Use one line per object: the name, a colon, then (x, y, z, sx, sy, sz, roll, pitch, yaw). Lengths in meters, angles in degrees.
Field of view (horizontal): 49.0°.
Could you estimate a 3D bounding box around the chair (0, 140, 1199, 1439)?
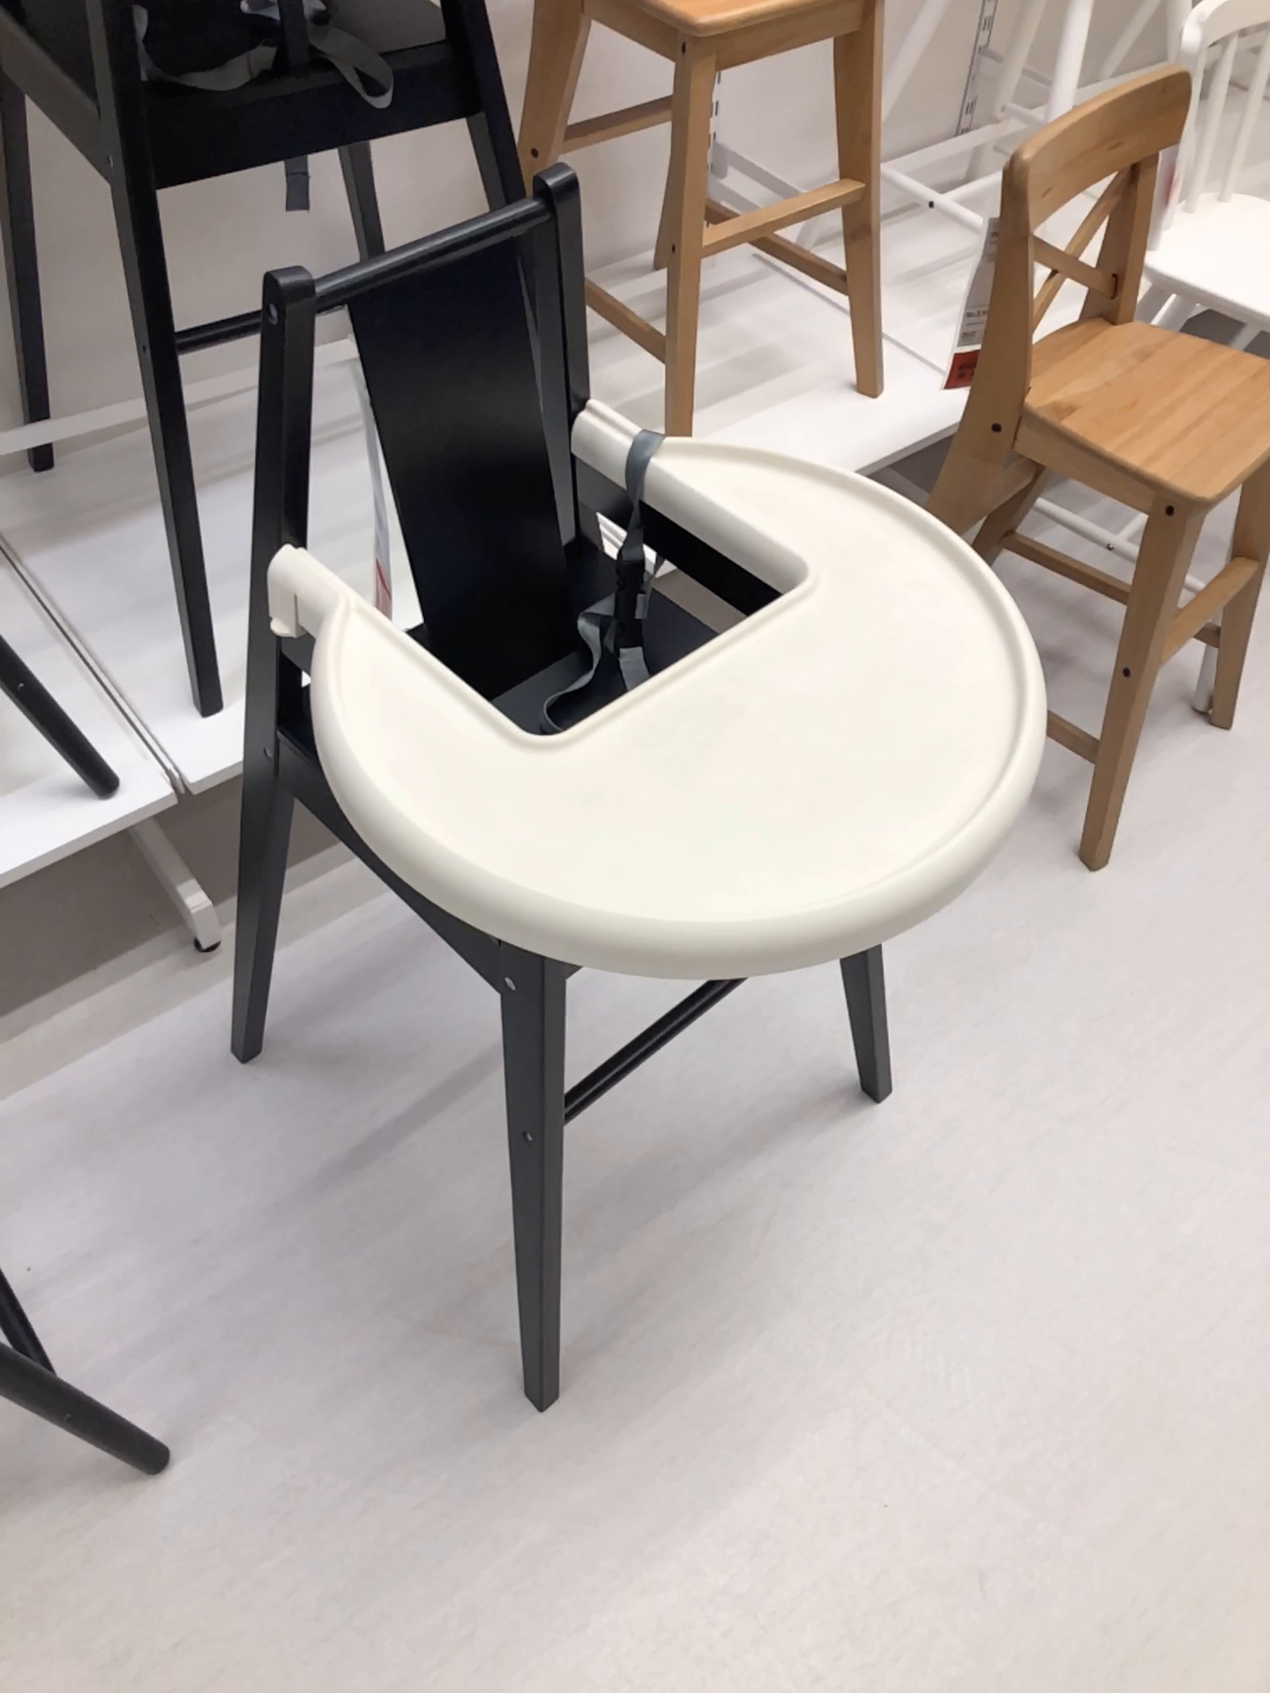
chair: (-0.045, -0.029, 1.179, 0.552, 0.775, 0.552, -34, 59, -27)
